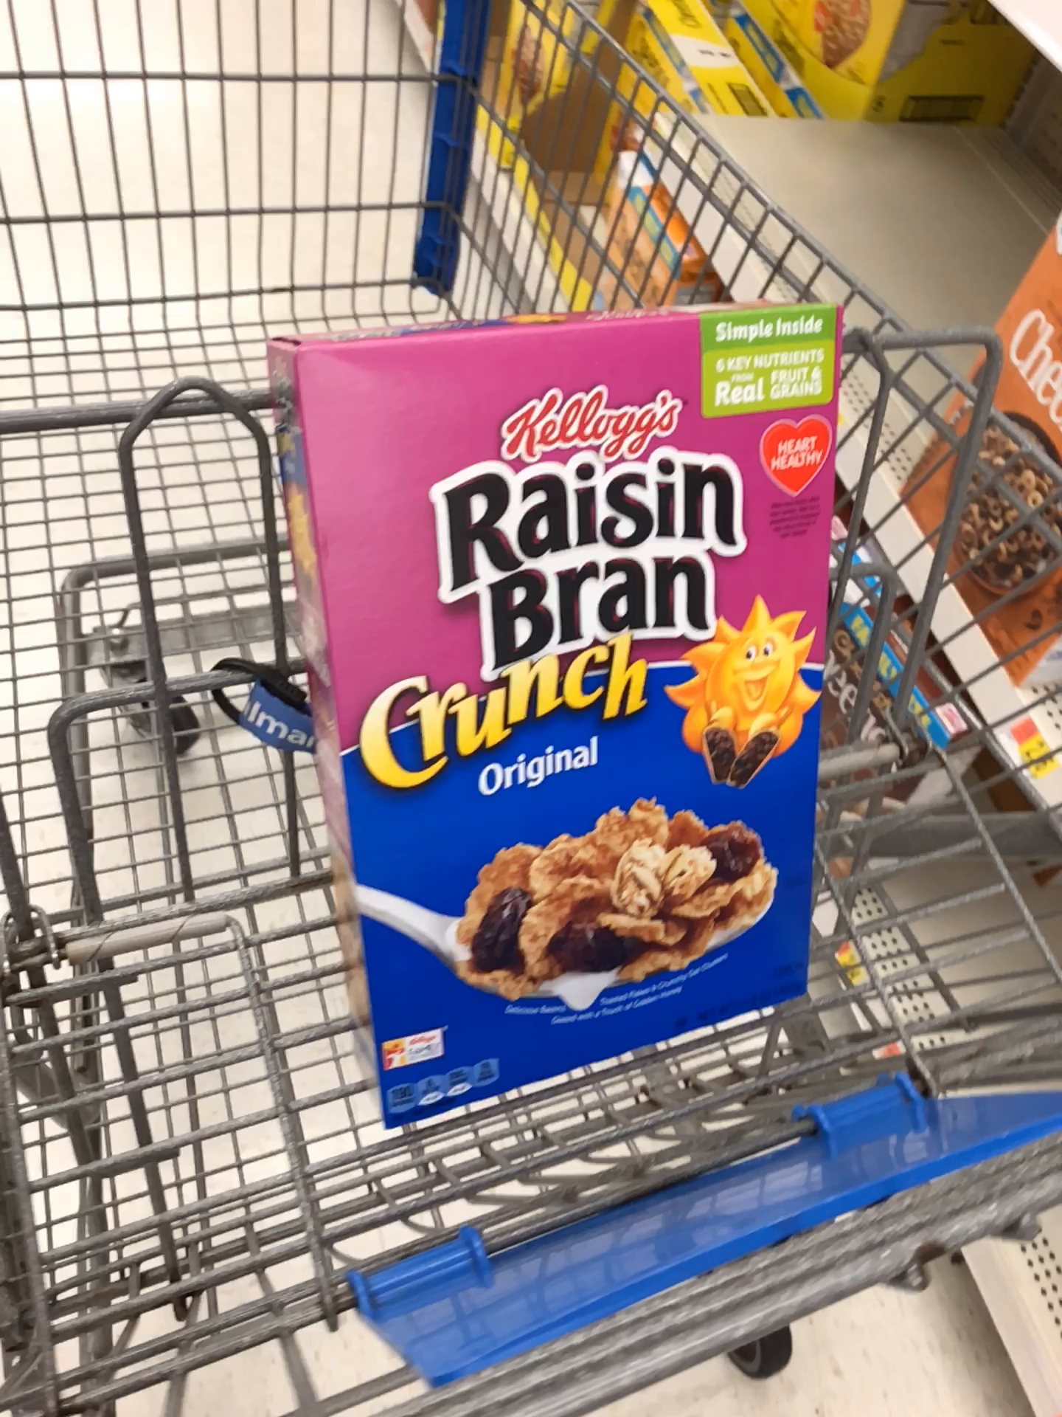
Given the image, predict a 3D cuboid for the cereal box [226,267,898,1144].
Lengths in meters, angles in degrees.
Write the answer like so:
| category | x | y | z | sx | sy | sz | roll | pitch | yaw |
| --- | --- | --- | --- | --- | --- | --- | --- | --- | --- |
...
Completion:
| category | x | y | z | sx | sy | sz | roll | pitch | yaw |
| --- | --- | --- | --- | --- | --- | --- | --- | --- | --- |
| cereal box | 0.021 | -0.005 | 0.428 | 0.210 | 0.280 | 0.060 | -12 | 23 | -21 |
